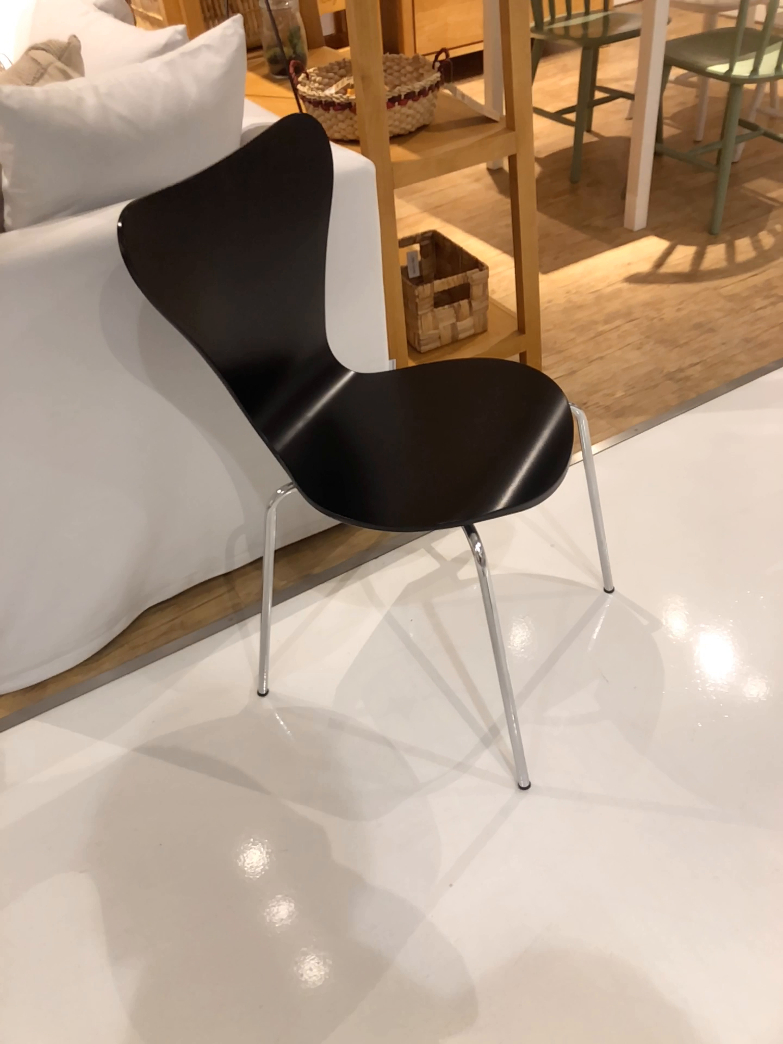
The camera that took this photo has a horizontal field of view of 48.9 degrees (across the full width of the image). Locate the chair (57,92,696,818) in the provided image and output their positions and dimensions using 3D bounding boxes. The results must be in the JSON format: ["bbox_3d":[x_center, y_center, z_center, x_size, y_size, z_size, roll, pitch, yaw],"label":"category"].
[{"bbox_3d":[0.040,-0.111,1.242,0.551,0.774,0.543,15,45,23],"label":"chair"}]
